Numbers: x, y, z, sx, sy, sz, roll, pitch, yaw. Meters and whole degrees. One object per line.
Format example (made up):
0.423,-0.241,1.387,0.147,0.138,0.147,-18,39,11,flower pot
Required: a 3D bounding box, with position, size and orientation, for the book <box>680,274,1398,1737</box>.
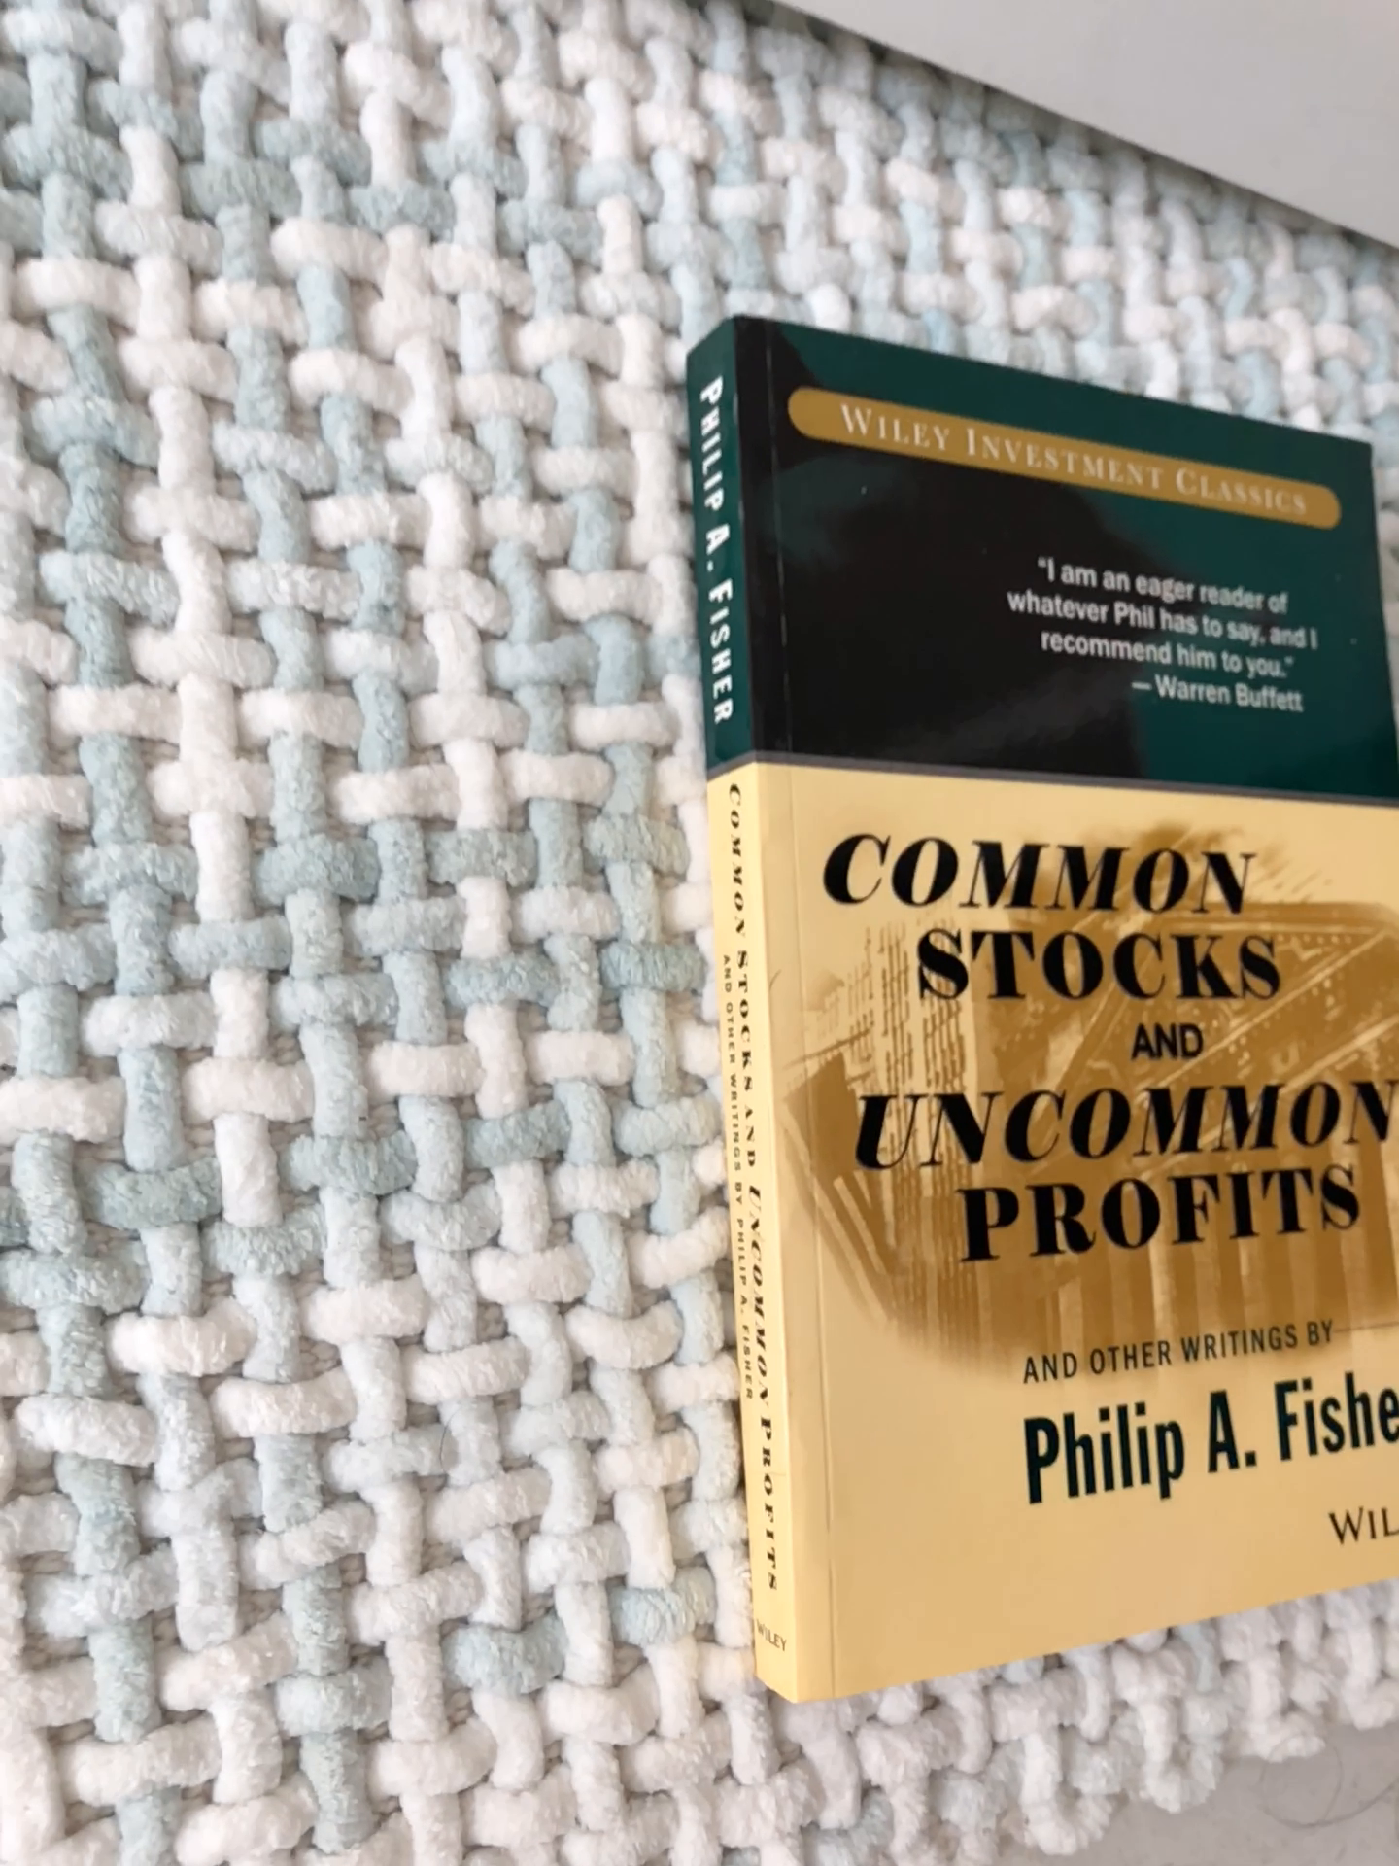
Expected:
0.082,0.008,0.311,0.167,0.026,0.247,1,82,-25,book
